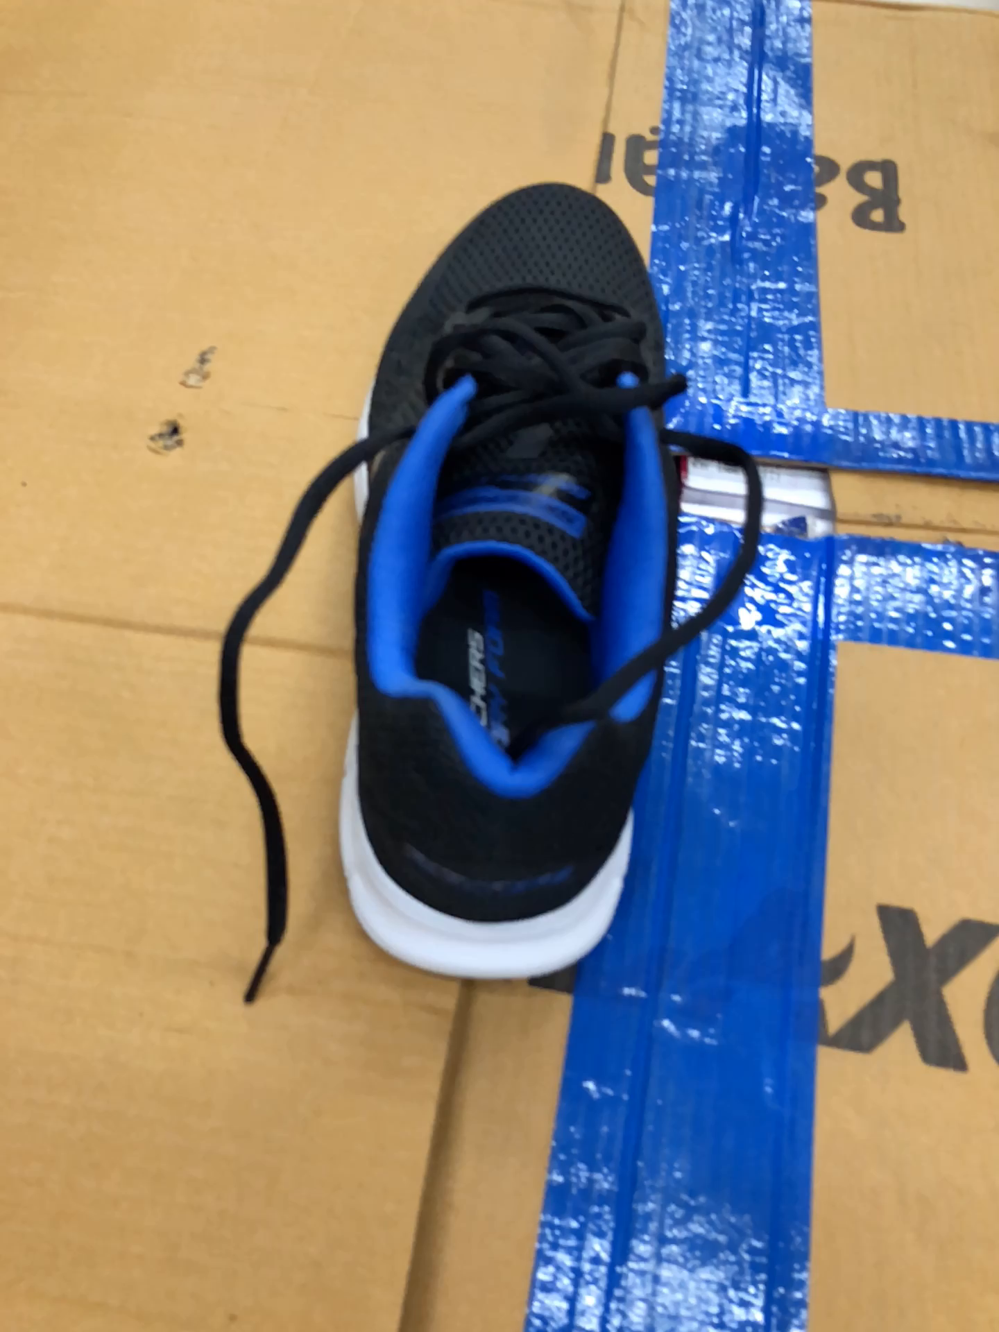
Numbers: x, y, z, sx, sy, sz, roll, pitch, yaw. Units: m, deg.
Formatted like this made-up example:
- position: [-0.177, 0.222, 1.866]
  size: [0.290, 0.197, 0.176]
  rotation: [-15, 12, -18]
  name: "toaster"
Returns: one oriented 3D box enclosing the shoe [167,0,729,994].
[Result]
- position: [0.002, -0.056, 0.337]
  size: [0.110, 0.129, 0.271]
  rotation: [6, 62, 2]
  name: "shoe"
